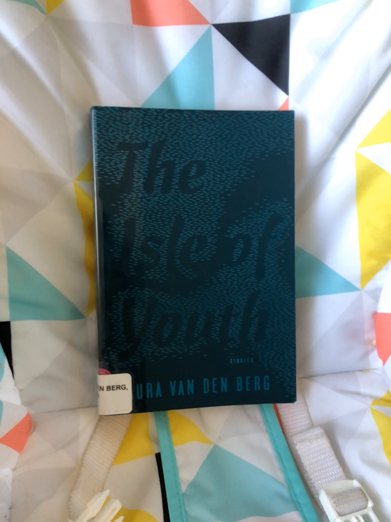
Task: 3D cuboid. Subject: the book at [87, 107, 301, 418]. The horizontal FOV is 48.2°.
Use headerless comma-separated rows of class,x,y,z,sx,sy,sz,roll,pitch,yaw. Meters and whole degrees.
book,0.000,0.000,0.277,0.124,0.032,0.180,-2,94,-8
